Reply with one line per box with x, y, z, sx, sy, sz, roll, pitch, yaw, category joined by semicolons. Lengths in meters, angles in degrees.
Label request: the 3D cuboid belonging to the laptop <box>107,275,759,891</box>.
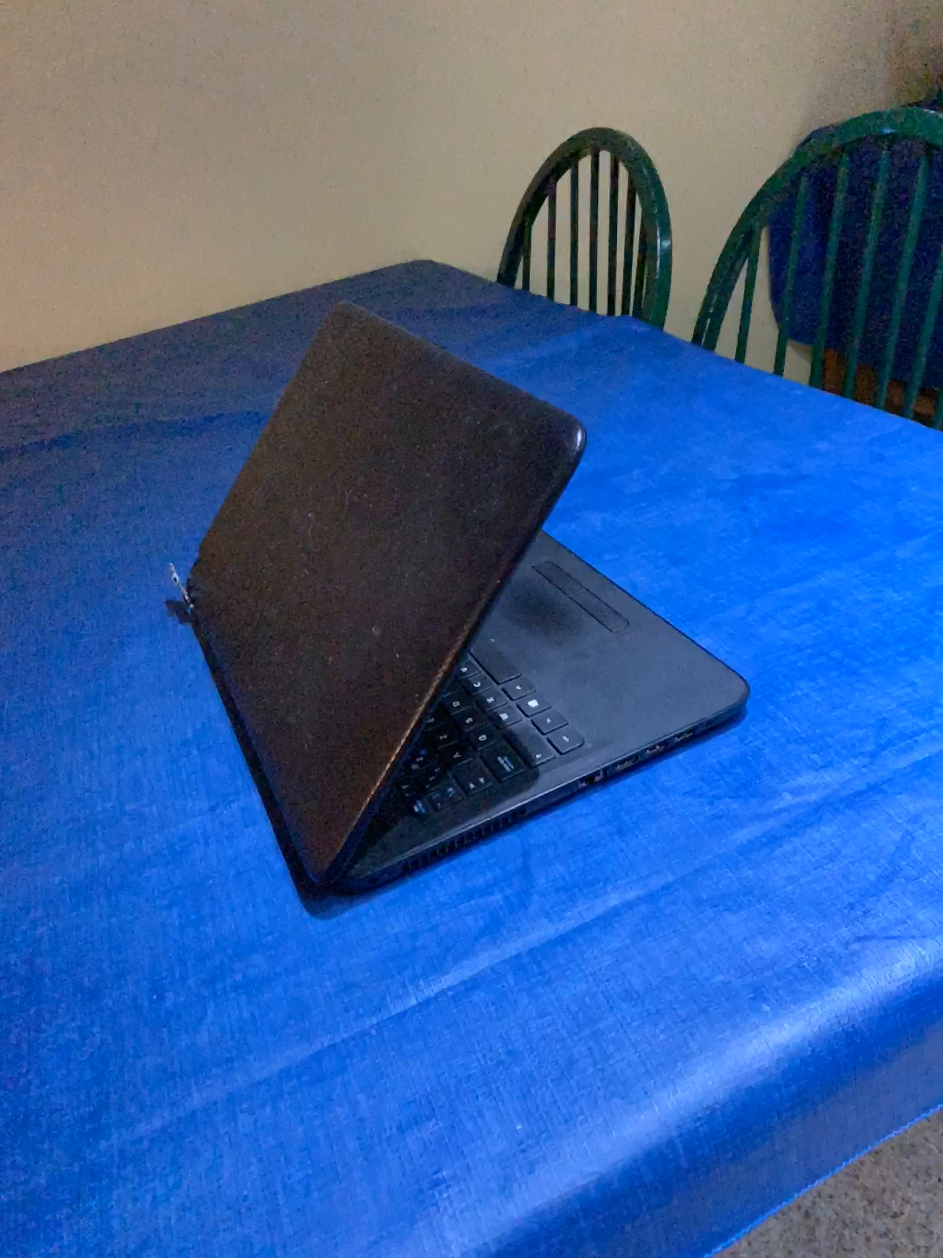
-0.048;-0.074;0.589;0.252;0.167;0.373;-21;33;-16;laptop
